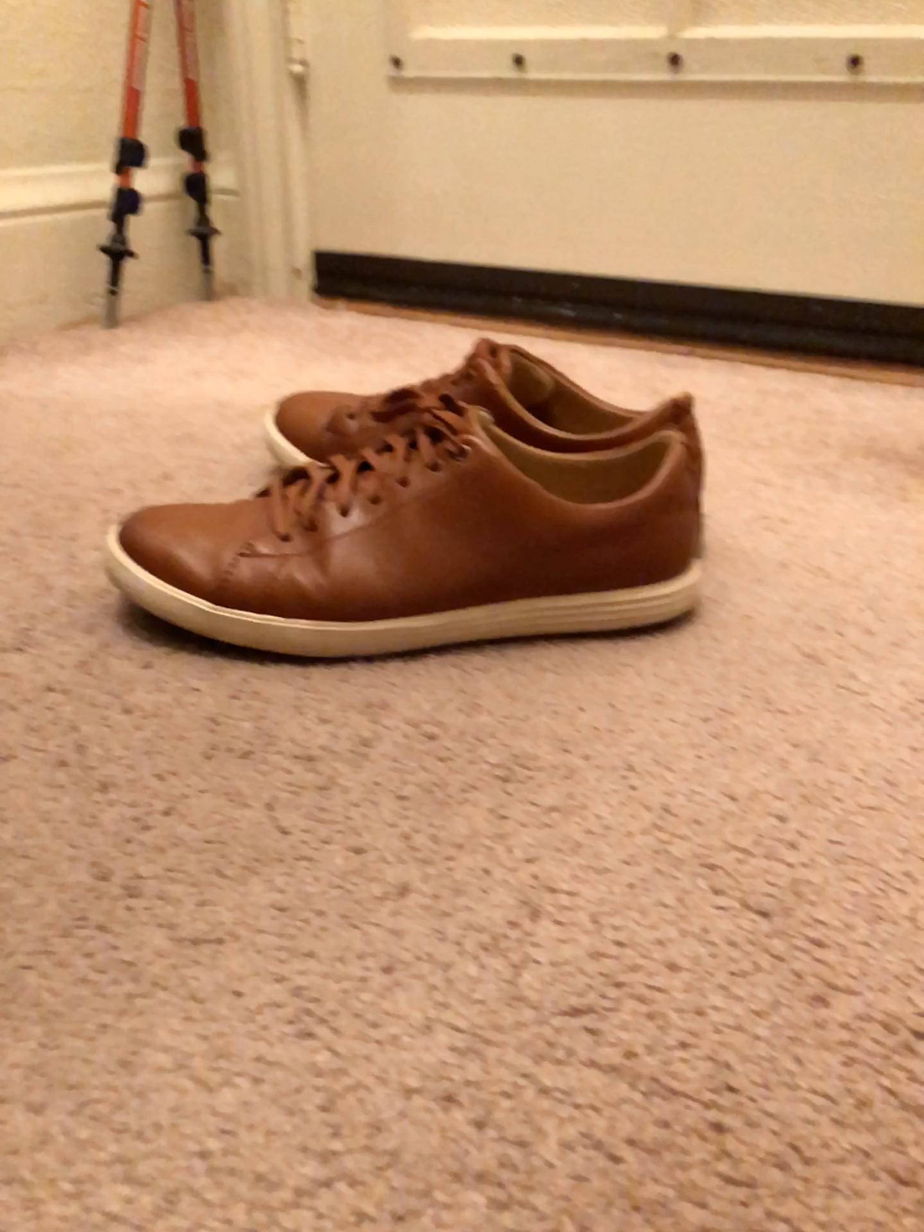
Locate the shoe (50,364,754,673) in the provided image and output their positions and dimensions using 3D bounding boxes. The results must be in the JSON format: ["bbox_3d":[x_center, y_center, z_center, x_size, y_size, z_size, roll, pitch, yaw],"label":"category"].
[{"bbox_3d":[-0.026,-0.053,0.489,0.285,0.100,0.118,-2,28,-6],"label":"shoe"}]

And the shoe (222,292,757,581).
[{"bbox_3d":[0.014,-0.118,0.612,0.285,0.102,0.118,13,30,22],"label":"shoe"}]
